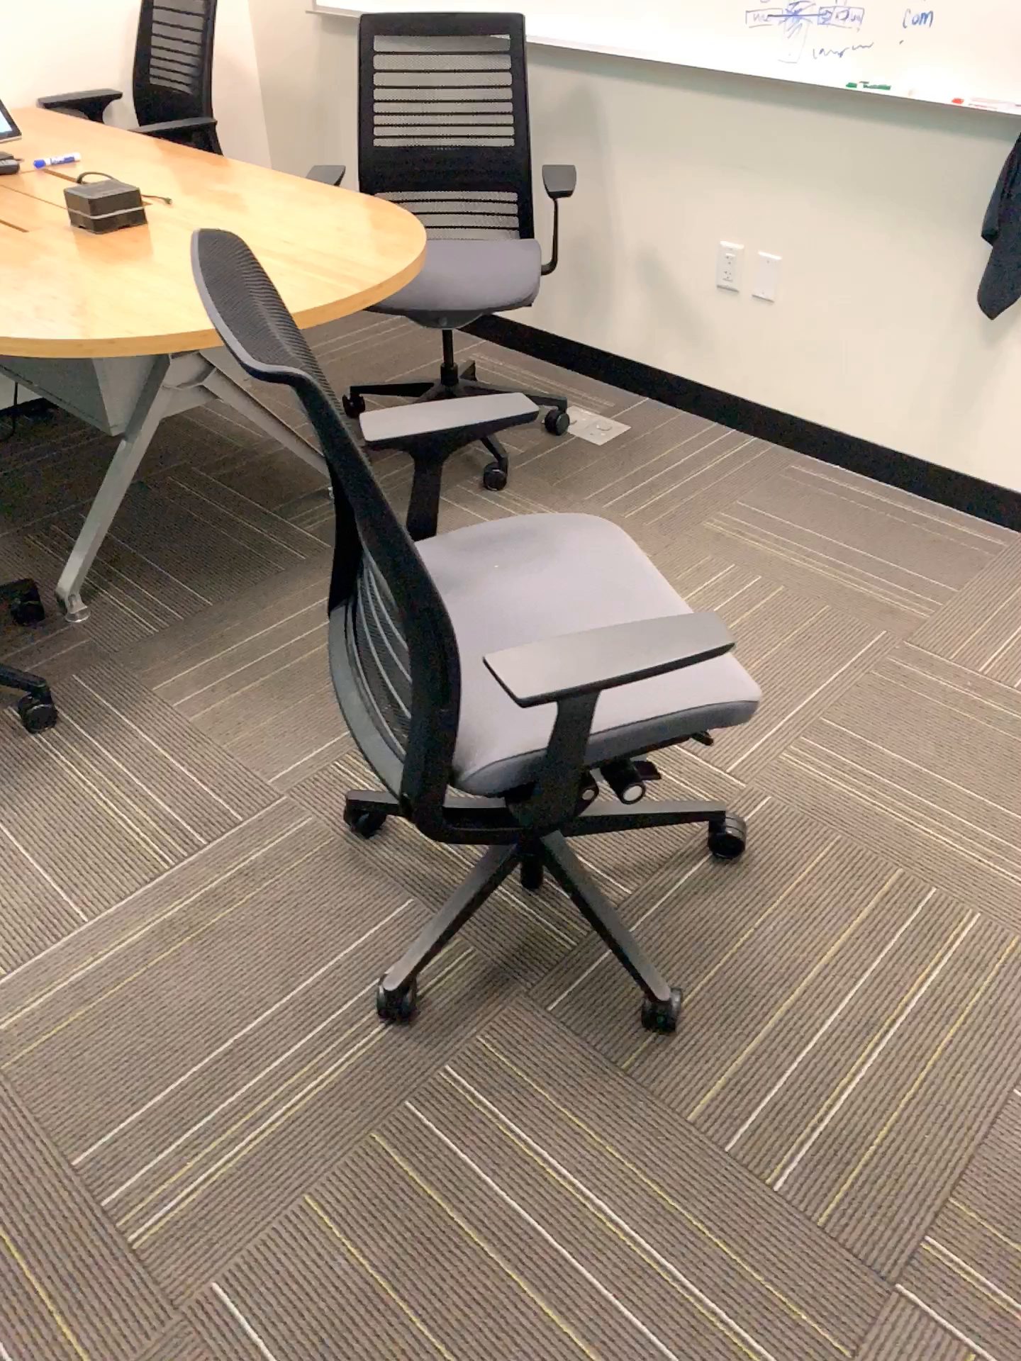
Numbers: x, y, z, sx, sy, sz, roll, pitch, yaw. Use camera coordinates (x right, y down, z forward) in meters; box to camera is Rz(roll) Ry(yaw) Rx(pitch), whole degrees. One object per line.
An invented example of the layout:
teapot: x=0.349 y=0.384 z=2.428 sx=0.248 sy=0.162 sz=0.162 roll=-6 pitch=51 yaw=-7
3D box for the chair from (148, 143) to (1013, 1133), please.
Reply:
chair: x=0.007 y=-0.061 z=1.373 sx=0.690 sy=0.994 sz=0.654 roll=-12 pitch=40 yaw=-14
